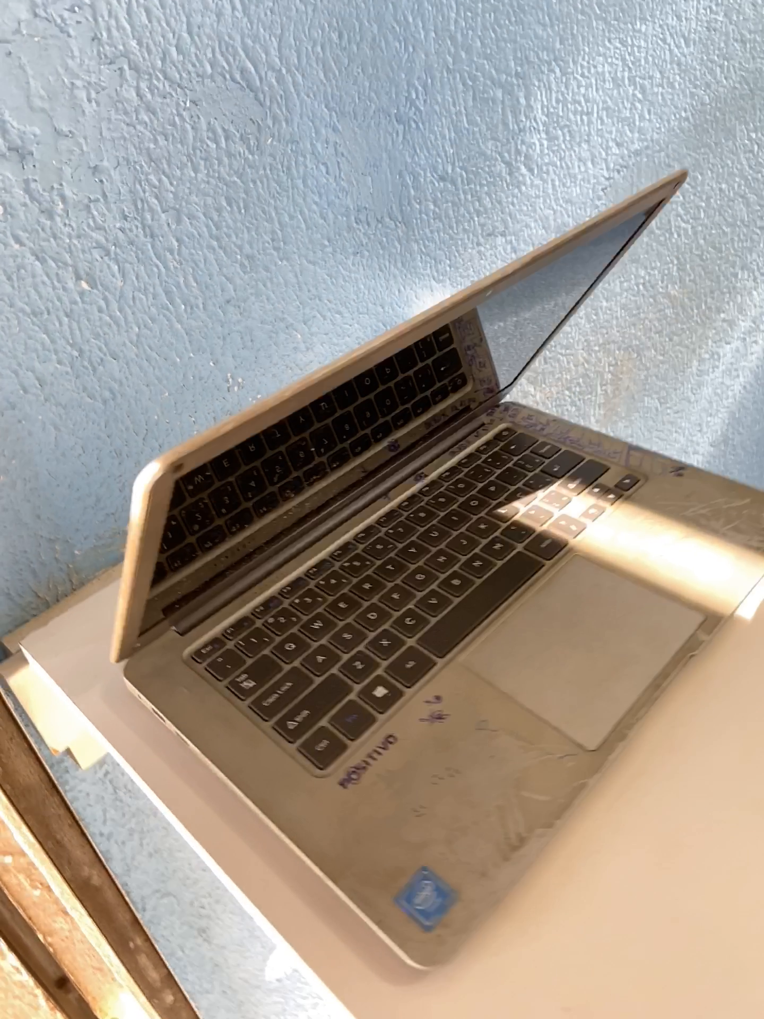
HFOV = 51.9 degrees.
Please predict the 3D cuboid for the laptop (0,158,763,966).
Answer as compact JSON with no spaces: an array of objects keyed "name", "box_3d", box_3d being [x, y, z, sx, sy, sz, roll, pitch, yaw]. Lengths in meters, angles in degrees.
[{"name":"laptop","box_3d":[0.045,-0.027,0.376,0.212,0.167,0.328,27,49,37]}]
